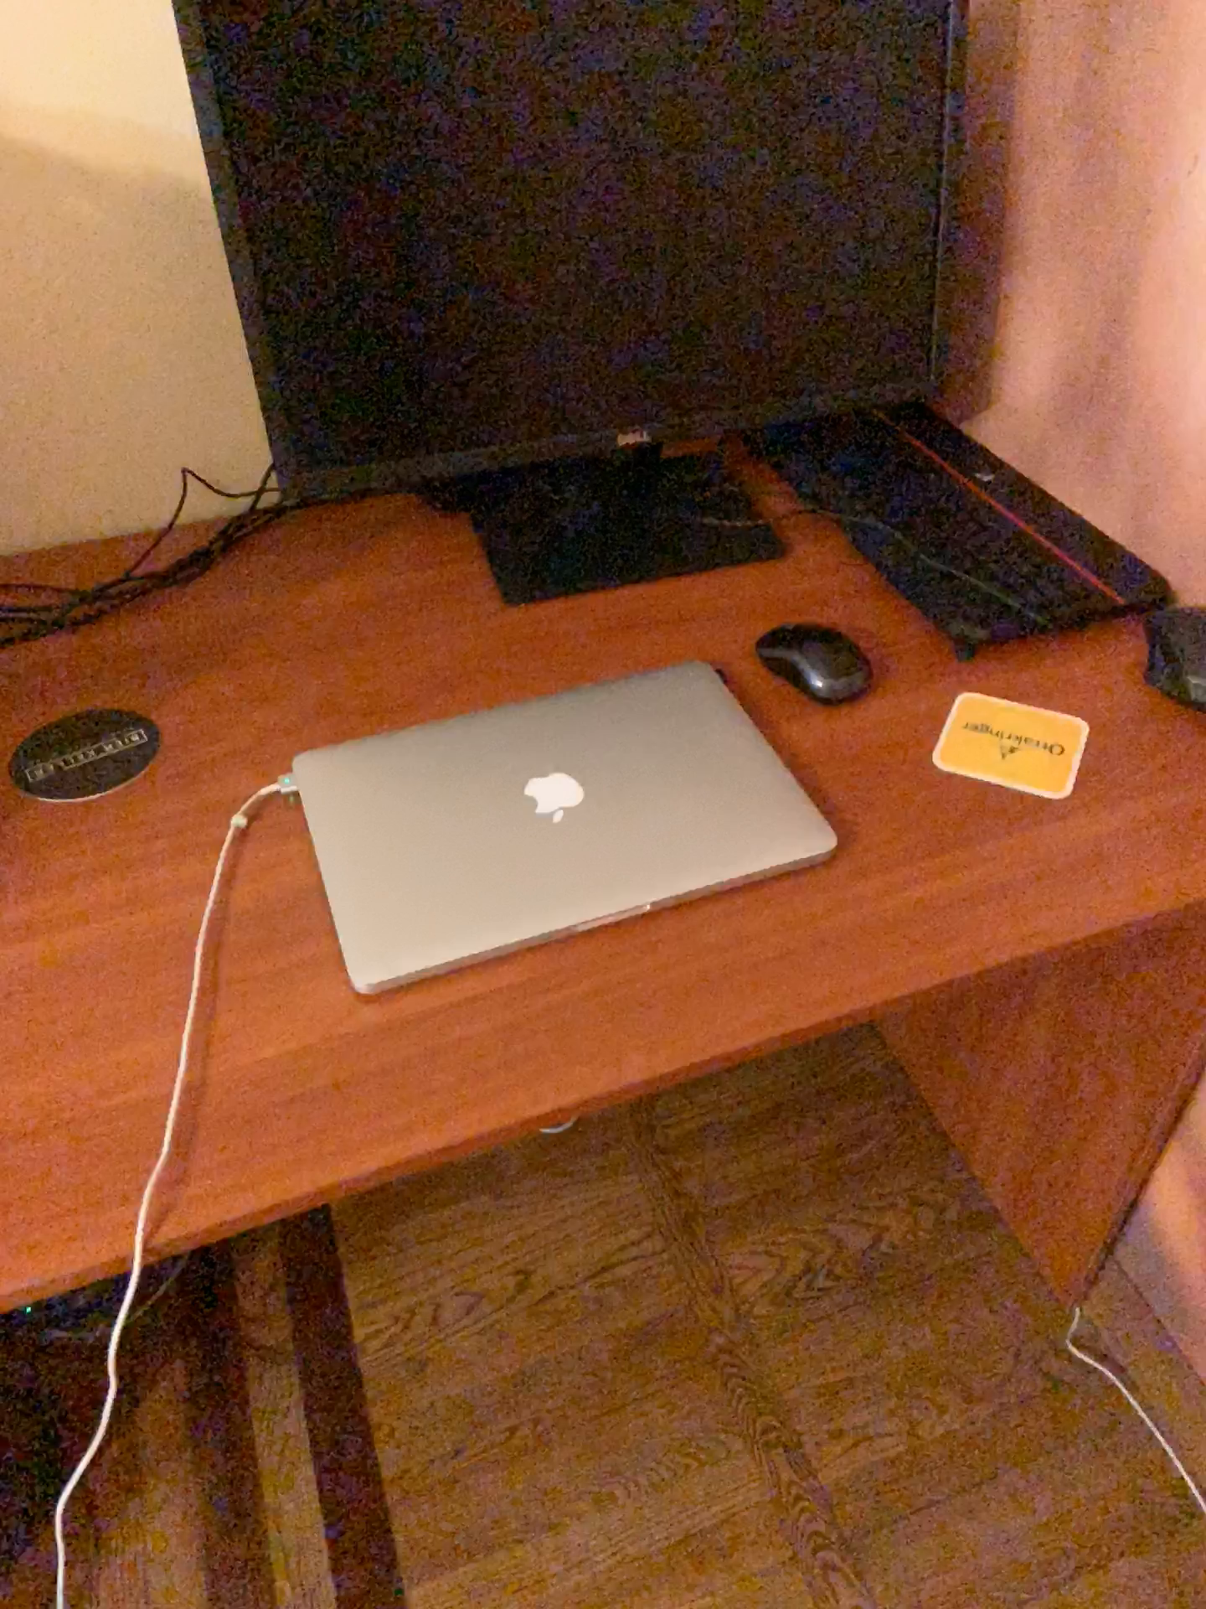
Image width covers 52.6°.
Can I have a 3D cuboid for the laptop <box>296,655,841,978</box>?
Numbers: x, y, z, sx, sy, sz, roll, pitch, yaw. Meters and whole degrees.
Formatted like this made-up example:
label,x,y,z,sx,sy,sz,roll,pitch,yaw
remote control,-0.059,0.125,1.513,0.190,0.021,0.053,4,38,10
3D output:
label,x,y,z,sx,sy,sz,roll,pitch,yaw
laptop,-0.030,-0.007,0.797,0.306,0.001,0.214,-14,44,-15
